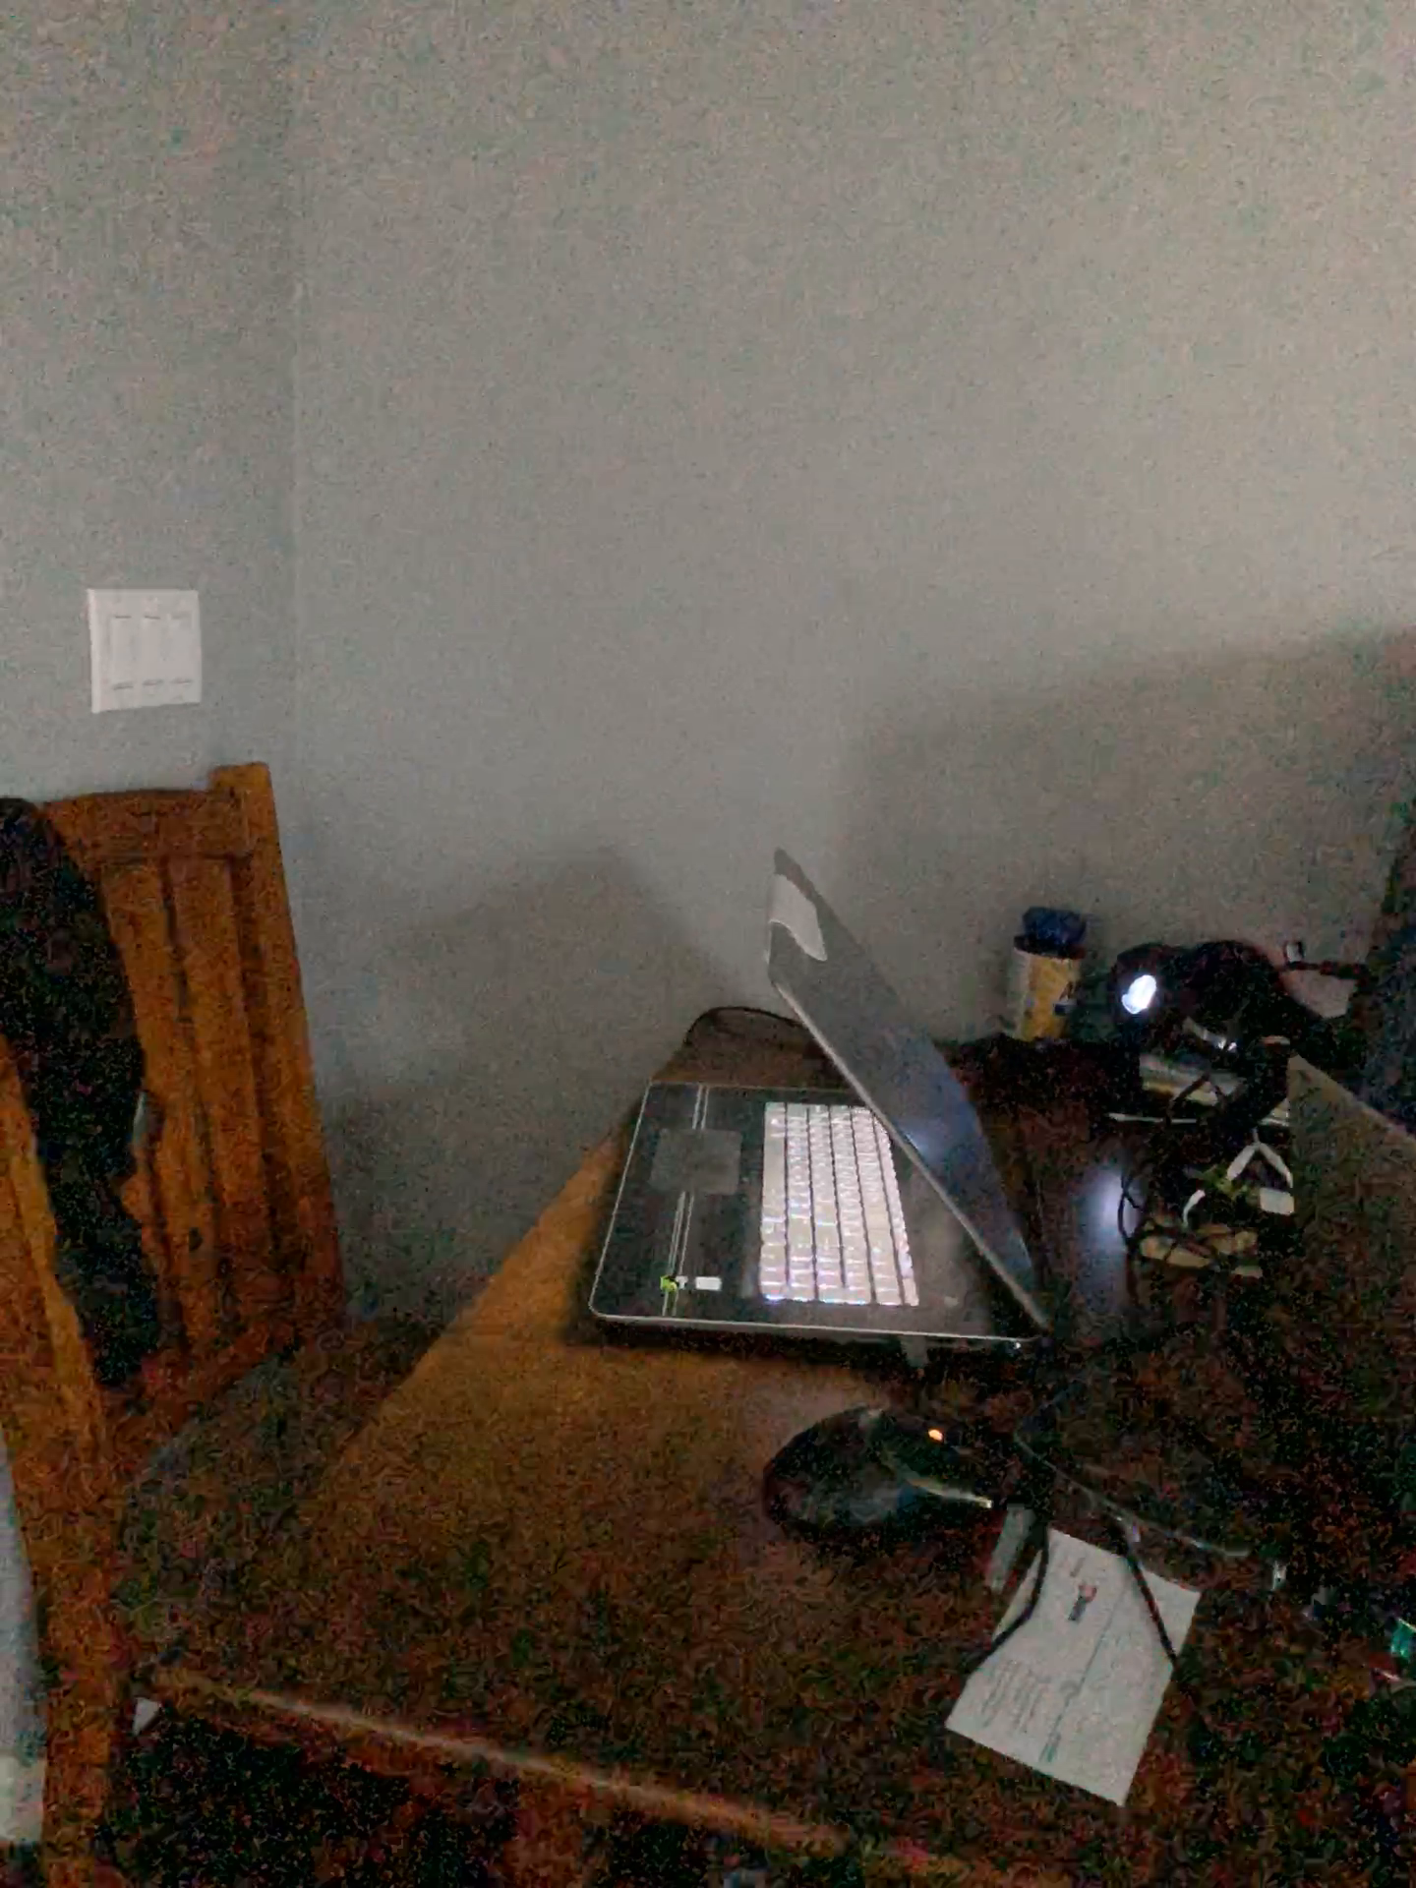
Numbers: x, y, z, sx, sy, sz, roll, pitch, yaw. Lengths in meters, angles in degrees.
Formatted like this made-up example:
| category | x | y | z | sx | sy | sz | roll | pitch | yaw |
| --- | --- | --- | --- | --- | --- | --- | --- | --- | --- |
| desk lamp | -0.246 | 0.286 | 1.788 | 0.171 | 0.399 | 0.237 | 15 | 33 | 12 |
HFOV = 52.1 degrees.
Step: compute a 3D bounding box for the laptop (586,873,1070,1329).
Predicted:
| category | x | y | z | sx | sy | sz | roll | pitch | yaw |
| --- | --- | --- | --- | --- | --- | --- | --- | --- | --- |
| laptop | 0.075 | 0.082 | 1.015 | 0.256 | 0.187 | 0.394 | 3 | 13 | 3 |
